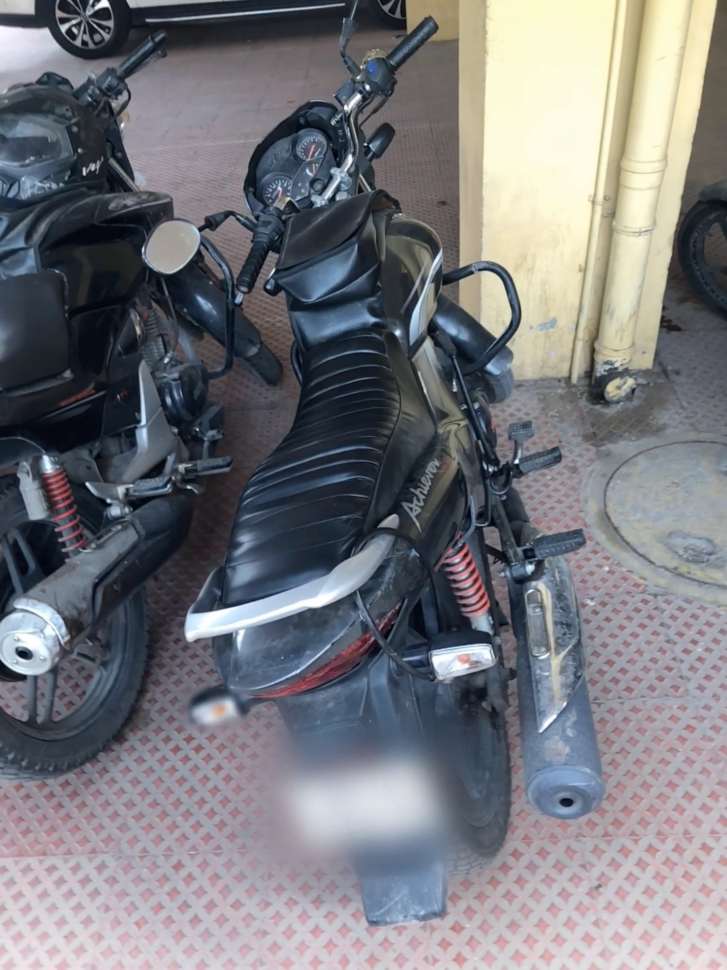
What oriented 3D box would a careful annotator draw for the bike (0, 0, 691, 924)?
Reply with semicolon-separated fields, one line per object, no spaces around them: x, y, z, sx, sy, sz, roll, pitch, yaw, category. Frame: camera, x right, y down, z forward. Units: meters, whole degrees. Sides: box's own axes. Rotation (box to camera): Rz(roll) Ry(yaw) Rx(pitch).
-0.126;-0.239;1.705;0.731;1.125;1.769;-6;39;0;bike
